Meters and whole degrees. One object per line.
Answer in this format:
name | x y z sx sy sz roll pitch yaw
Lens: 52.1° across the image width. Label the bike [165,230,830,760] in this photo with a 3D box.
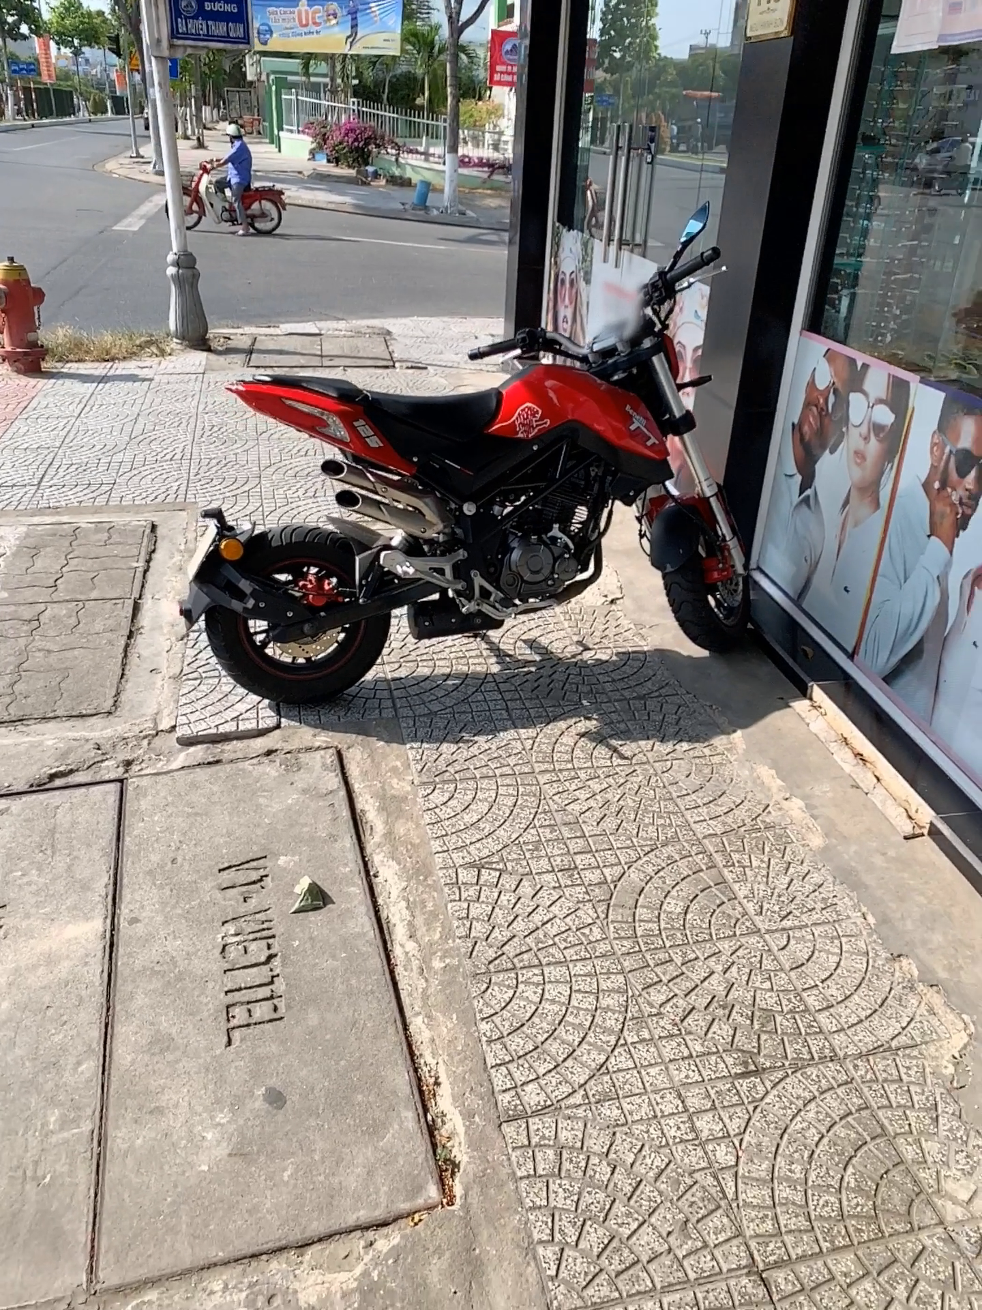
bike | 0.069 -0.685 3.301 2.122 1.216 0.835 -14 31 -30
